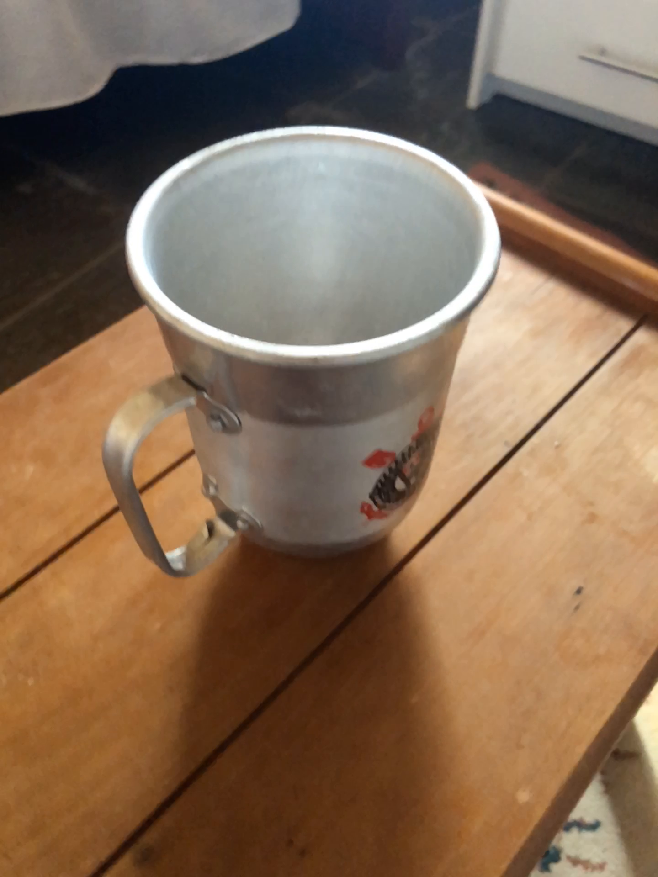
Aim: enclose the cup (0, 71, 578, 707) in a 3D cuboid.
[{"bbox_3d":[-0.014,-0.015,0.235,0.100,0.129,0.121,38,60,26],"label":"cup"}]
